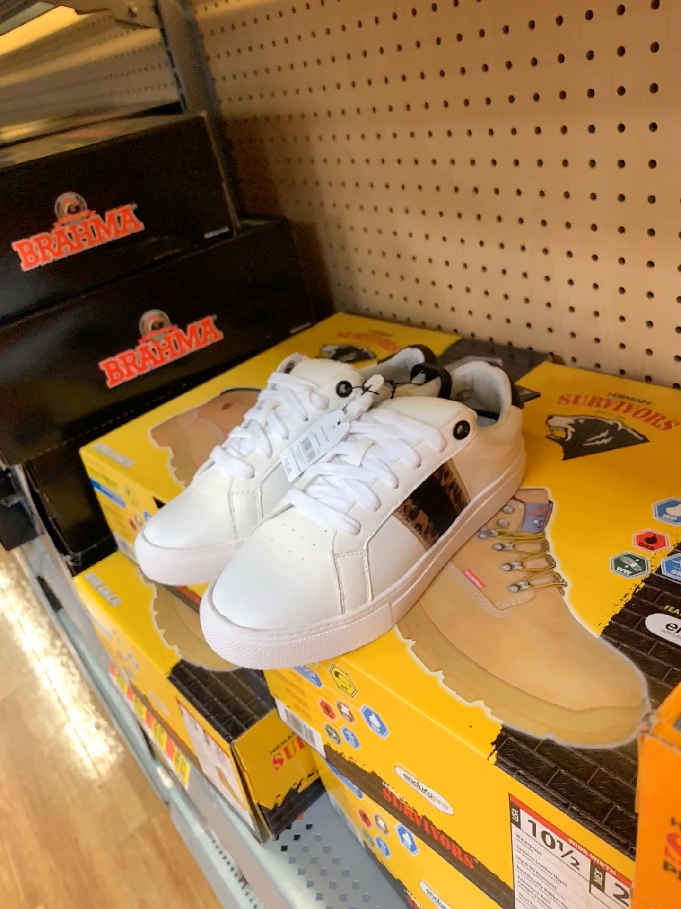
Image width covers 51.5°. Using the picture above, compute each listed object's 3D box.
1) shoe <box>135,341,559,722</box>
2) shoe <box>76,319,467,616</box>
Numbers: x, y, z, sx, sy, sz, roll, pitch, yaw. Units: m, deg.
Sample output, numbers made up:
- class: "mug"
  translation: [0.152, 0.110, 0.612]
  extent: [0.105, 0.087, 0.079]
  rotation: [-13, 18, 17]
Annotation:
- class: "shoe"
  translation: [0.018, 0.025, 0.419]
  extent: [0.241, 0.070, 0.103]
  rotation: [-35, 41, -31]
- class: "shoe"
  translation: [-0.039, -0.005, 0.492]
  extent: [0.245, 0.072, 0.100]
  rotation: [-30, 35, -24]
